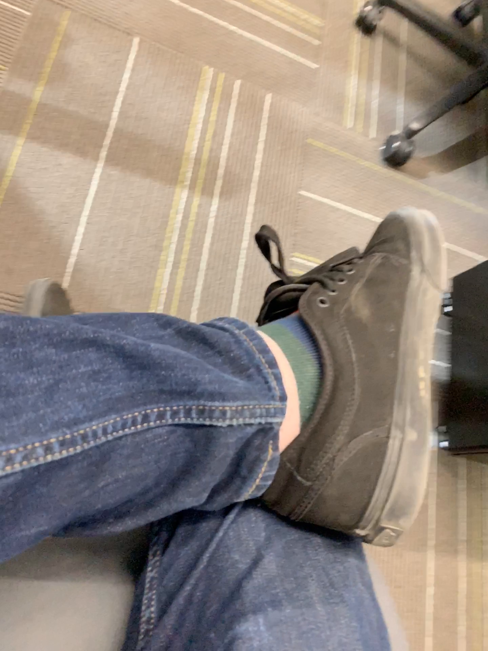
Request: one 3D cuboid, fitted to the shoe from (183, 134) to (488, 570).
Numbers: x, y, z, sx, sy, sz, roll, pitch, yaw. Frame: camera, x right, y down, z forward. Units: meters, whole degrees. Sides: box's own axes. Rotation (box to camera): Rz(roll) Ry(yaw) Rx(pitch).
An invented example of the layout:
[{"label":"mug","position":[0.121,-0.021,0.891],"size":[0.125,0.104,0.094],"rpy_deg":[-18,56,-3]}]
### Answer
[{"label":"shoe","position":[0.073,0.017,0.375],"size":[0.134,0.120,0.260],"rpy_deg":[23,66,-5]}]
